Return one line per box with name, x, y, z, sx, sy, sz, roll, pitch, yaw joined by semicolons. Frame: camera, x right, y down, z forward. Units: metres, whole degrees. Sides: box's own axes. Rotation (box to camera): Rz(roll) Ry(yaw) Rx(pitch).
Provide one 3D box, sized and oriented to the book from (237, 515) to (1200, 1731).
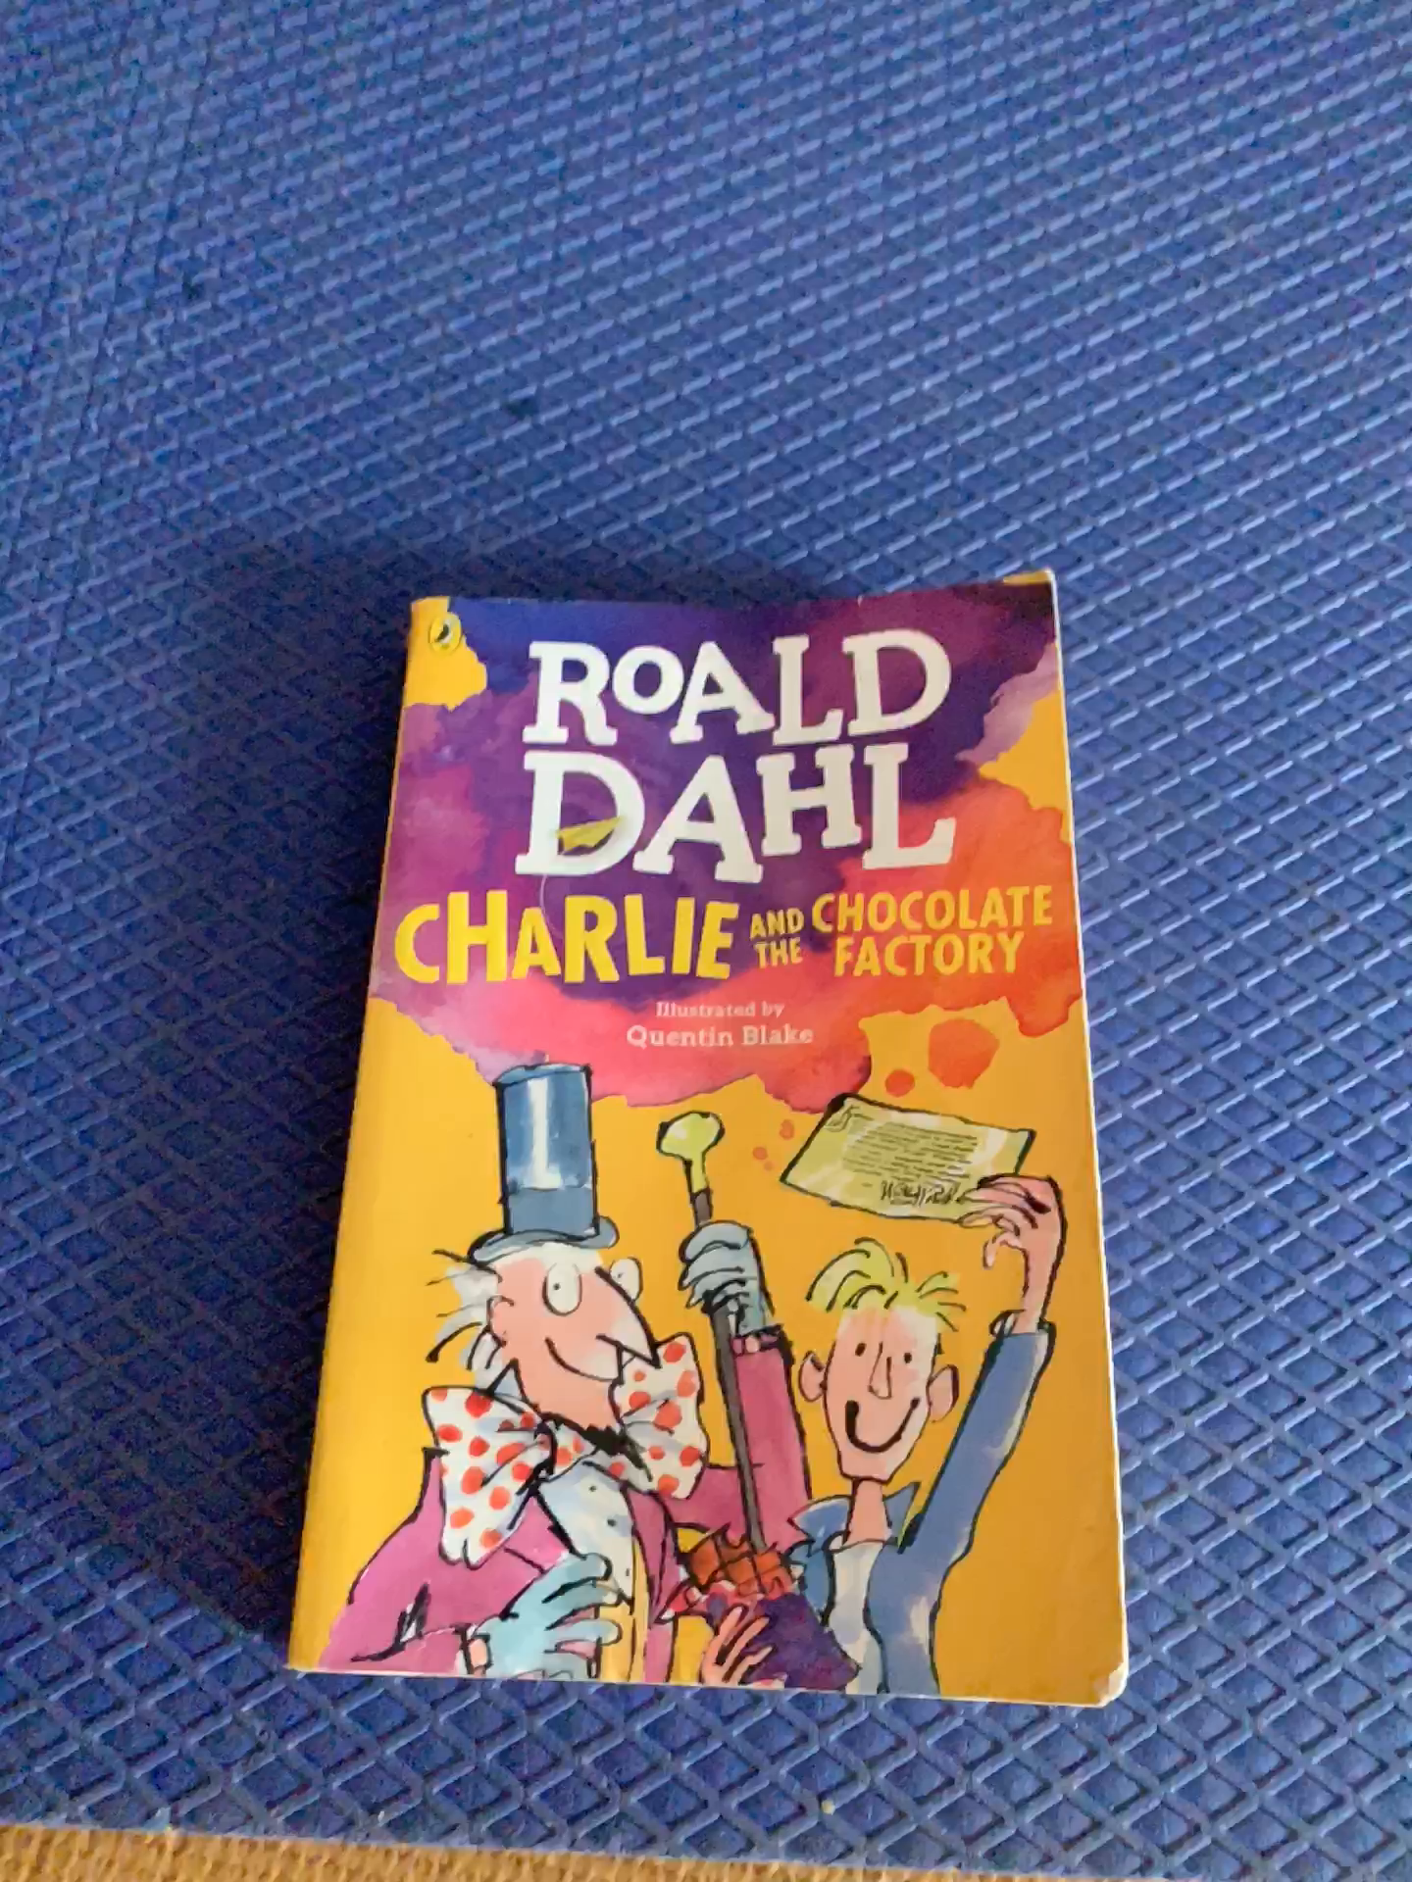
book;0.005;0.019;0.262;0.140;0.020;0.211;2;68;-1
